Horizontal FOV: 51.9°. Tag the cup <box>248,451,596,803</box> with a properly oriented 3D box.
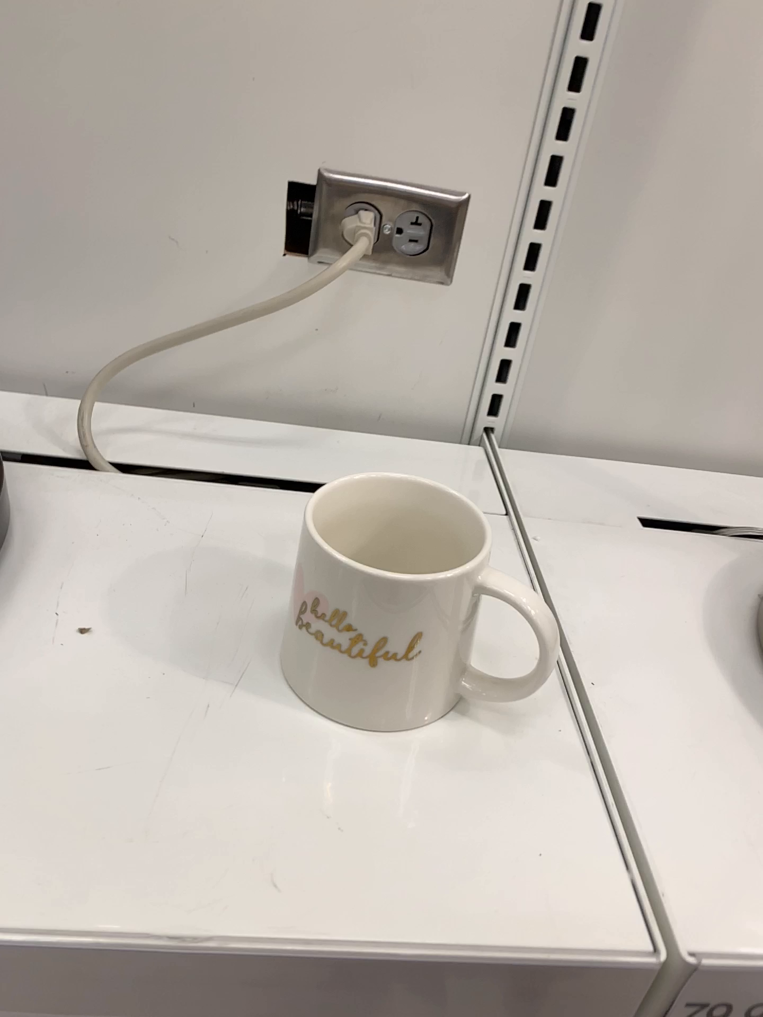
[{"bbox_3d":[0.019,0.053,0.413,0.140,0.097,0.105,21,35,22],"label":"cup"}]
